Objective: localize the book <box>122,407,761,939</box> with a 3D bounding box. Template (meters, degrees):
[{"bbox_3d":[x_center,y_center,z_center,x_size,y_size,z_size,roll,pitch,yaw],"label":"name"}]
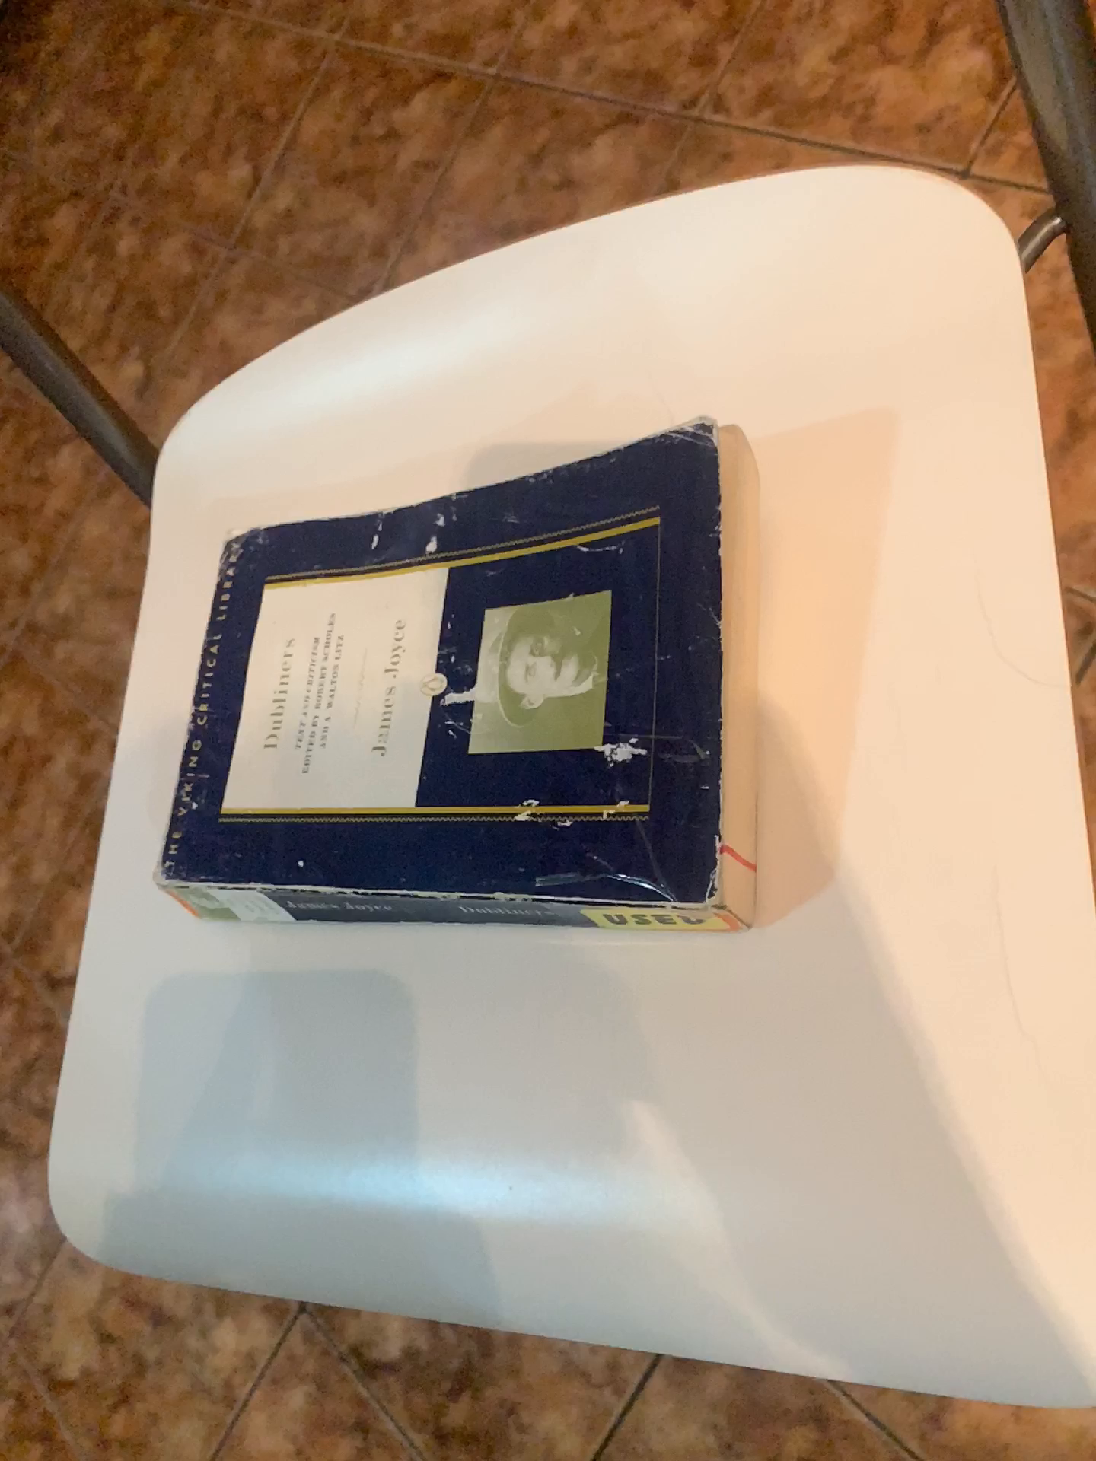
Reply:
[{"bbox_3d":[-0.037,-0.008,0.339,0.198,0.035,0.132,-5,75,30],"label":"book"}]
